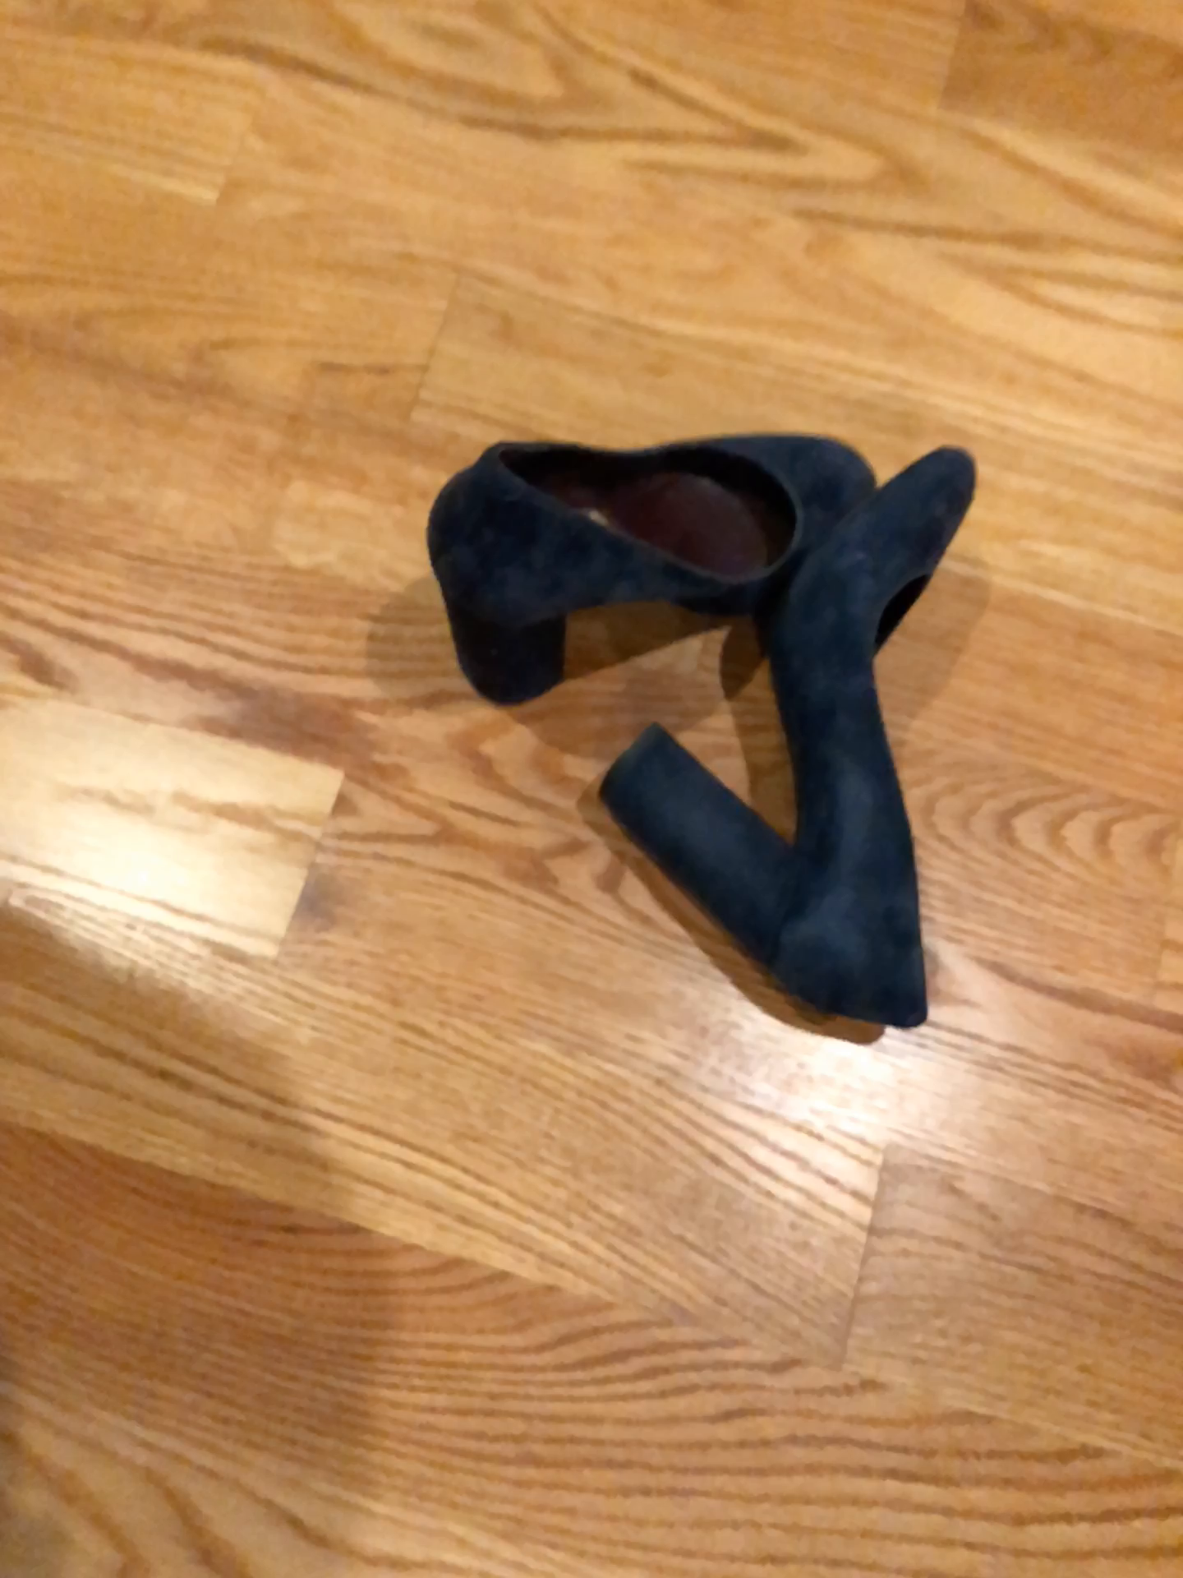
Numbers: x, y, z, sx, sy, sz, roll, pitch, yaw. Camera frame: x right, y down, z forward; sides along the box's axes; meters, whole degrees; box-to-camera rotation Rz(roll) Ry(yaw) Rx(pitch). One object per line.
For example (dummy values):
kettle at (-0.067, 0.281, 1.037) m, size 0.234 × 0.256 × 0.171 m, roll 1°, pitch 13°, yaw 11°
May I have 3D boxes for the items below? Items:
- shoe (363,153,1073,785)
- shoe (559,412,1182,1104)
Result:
shoe at (0.041, -0.112, 0.495) m, size 0.226 × 0.146 × 0.080 m, roll -31°, pitch 77°, yaw -12°
shoe at (0.115, -0.012, 0.500) m, size 0.152 × 0.080 × 0.204 m, roll 44°, pitch 75°, yaw 9°
